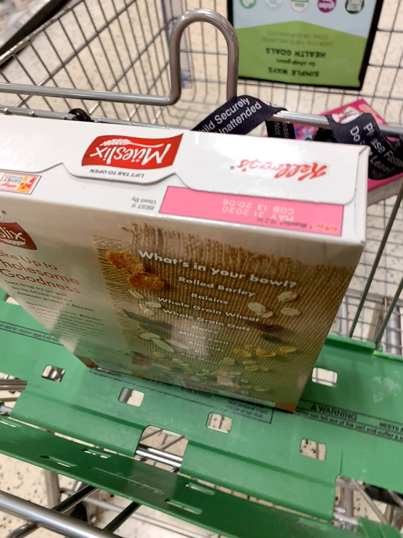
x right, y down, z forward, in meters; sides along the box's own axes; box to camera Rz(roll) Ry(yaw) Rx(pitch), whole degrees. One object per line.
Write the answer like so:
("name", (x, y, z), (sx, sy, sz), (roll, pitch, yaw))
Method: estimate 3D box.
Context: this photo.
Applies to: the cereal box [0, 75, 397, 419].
("cereal box", (-0.021, 0.017, 0.254), (0.190, 0.248, 0.050), (10, 61, 12))
